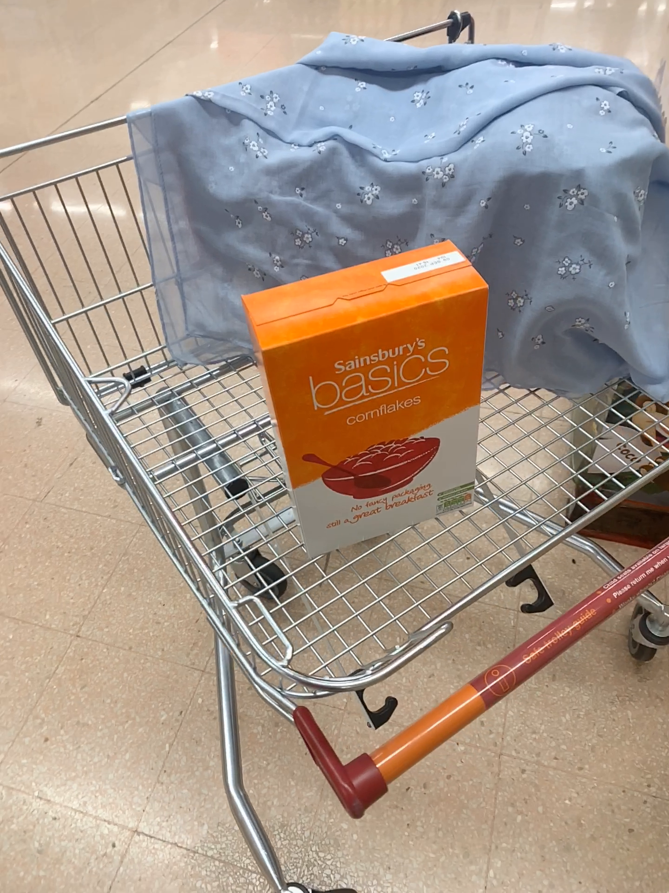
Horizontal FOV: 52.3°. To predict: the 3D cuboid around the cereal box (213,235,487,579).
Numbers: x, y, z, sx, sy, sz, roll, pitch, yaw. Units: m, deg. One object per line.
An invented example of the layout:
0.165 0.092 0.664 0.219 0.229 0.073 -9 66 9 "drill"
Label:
0.026 -0.022 0.664 0.210 0.307 0.081 -17 46 -8 "cereal box"
